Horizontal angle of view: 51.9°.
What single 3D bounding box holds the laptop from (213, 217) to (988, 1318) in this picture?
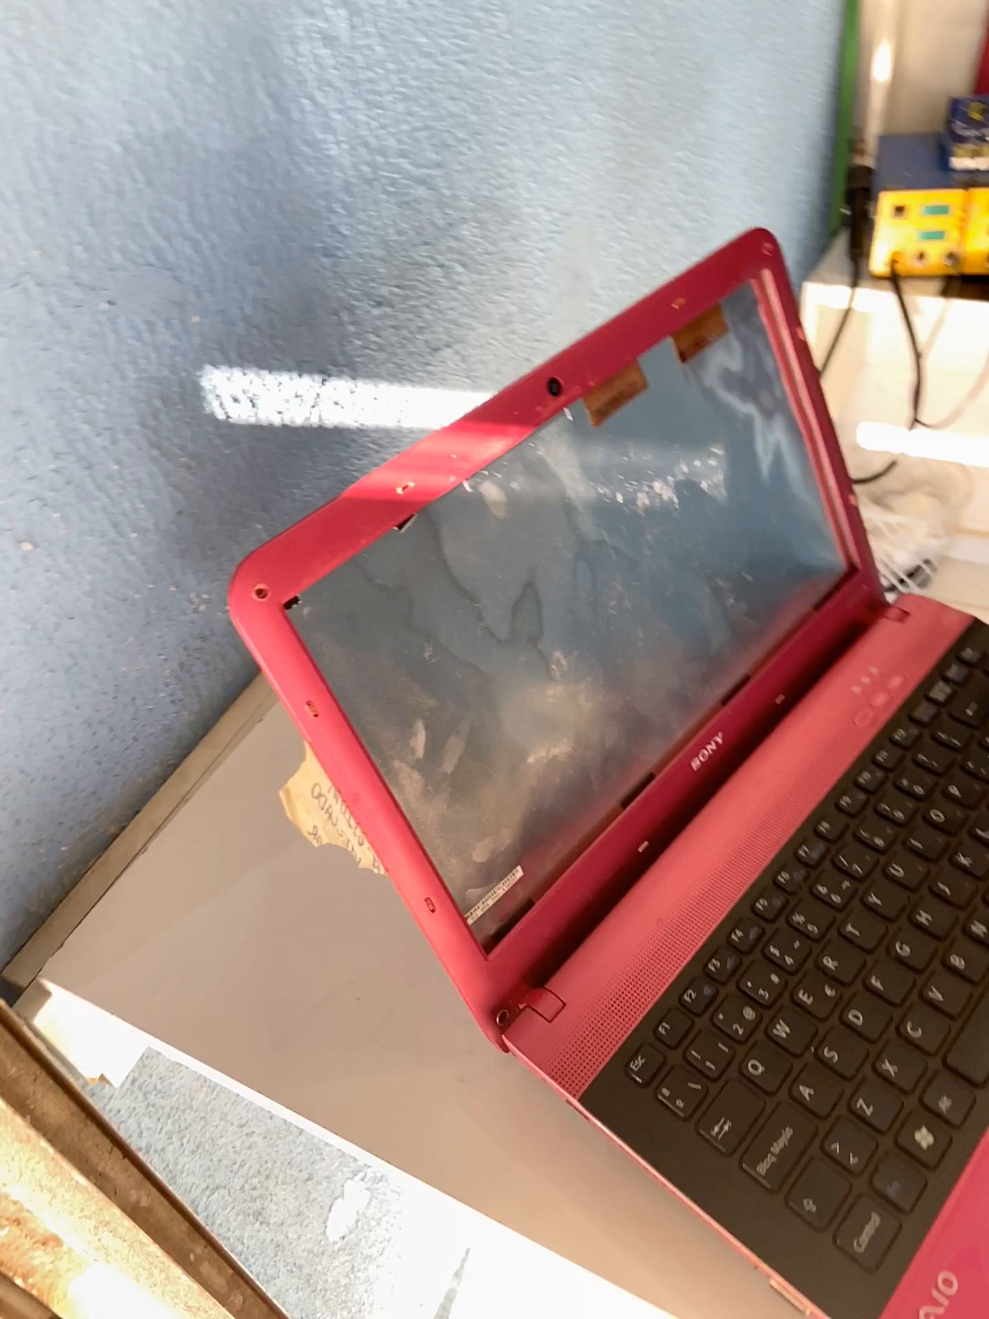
[{"bbox_3d":[0.152,0.014,0.399,0.340,0.187,0.332,30,56,33],"label":"laptop"}]
